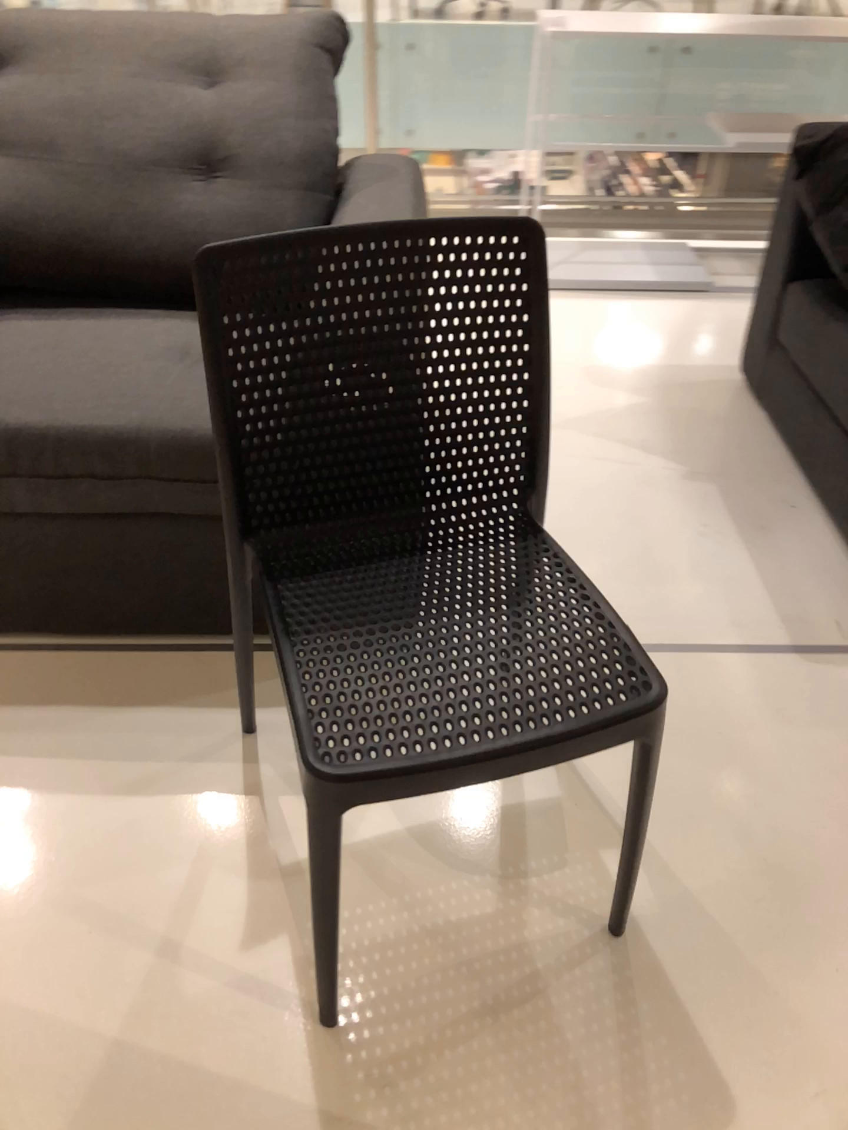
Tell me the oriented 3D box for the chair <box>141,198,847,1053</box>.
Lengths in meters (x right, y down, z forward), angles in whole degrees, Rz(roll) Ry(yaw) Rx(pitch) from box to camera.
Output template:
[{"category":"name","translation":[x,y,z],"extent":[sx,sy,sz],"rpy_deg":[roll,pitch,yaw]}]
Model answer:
[{"category":"chair","translation":[0.016,0.054,1.148],"extent":[0.530,0.784,0.564],"rpy_deg":[-11,39,-15]}]
